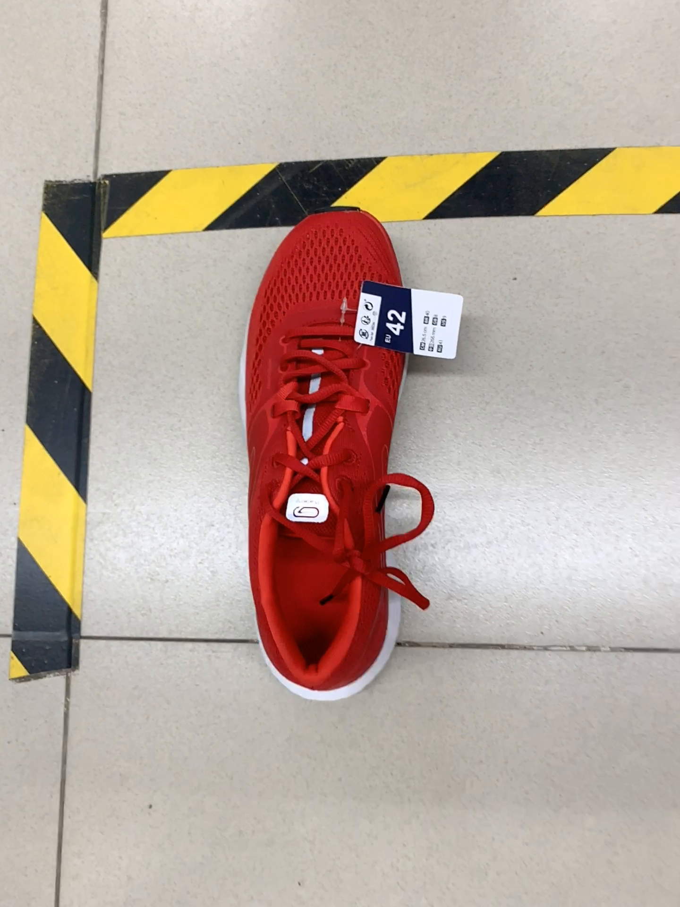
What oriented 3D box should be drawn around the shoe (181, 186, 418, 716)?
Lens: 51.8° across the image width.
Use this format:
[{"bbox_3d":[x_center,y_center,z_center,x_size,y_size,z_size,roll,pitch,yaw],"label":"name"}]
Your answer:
[{"bbox_3d":[-0.016,-0.003,0.417,0.120,0.090,0.280,0,83,5],"label":"shoe"}]
